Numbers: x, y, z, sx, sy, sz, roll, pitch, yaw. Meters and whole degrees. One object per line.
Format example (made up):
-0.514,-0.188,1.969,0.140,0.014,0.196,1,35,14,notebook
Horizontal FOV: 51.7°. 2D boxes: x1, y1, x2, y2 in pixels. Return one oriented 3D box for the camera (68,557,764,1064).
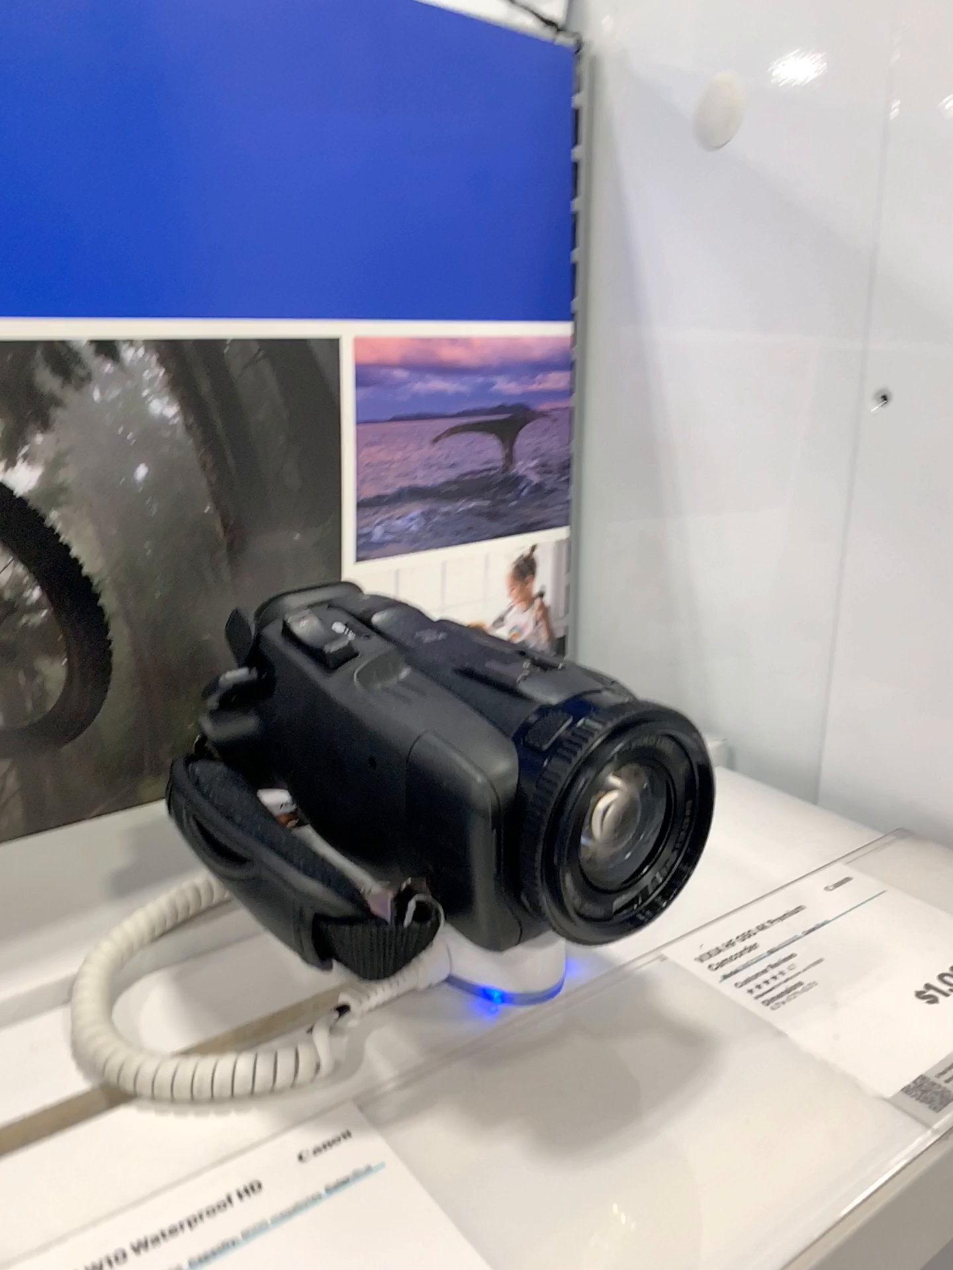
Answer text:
-0.032,0.031,0.325,0.132,0.069,0.200,-11,19,-38,camera
